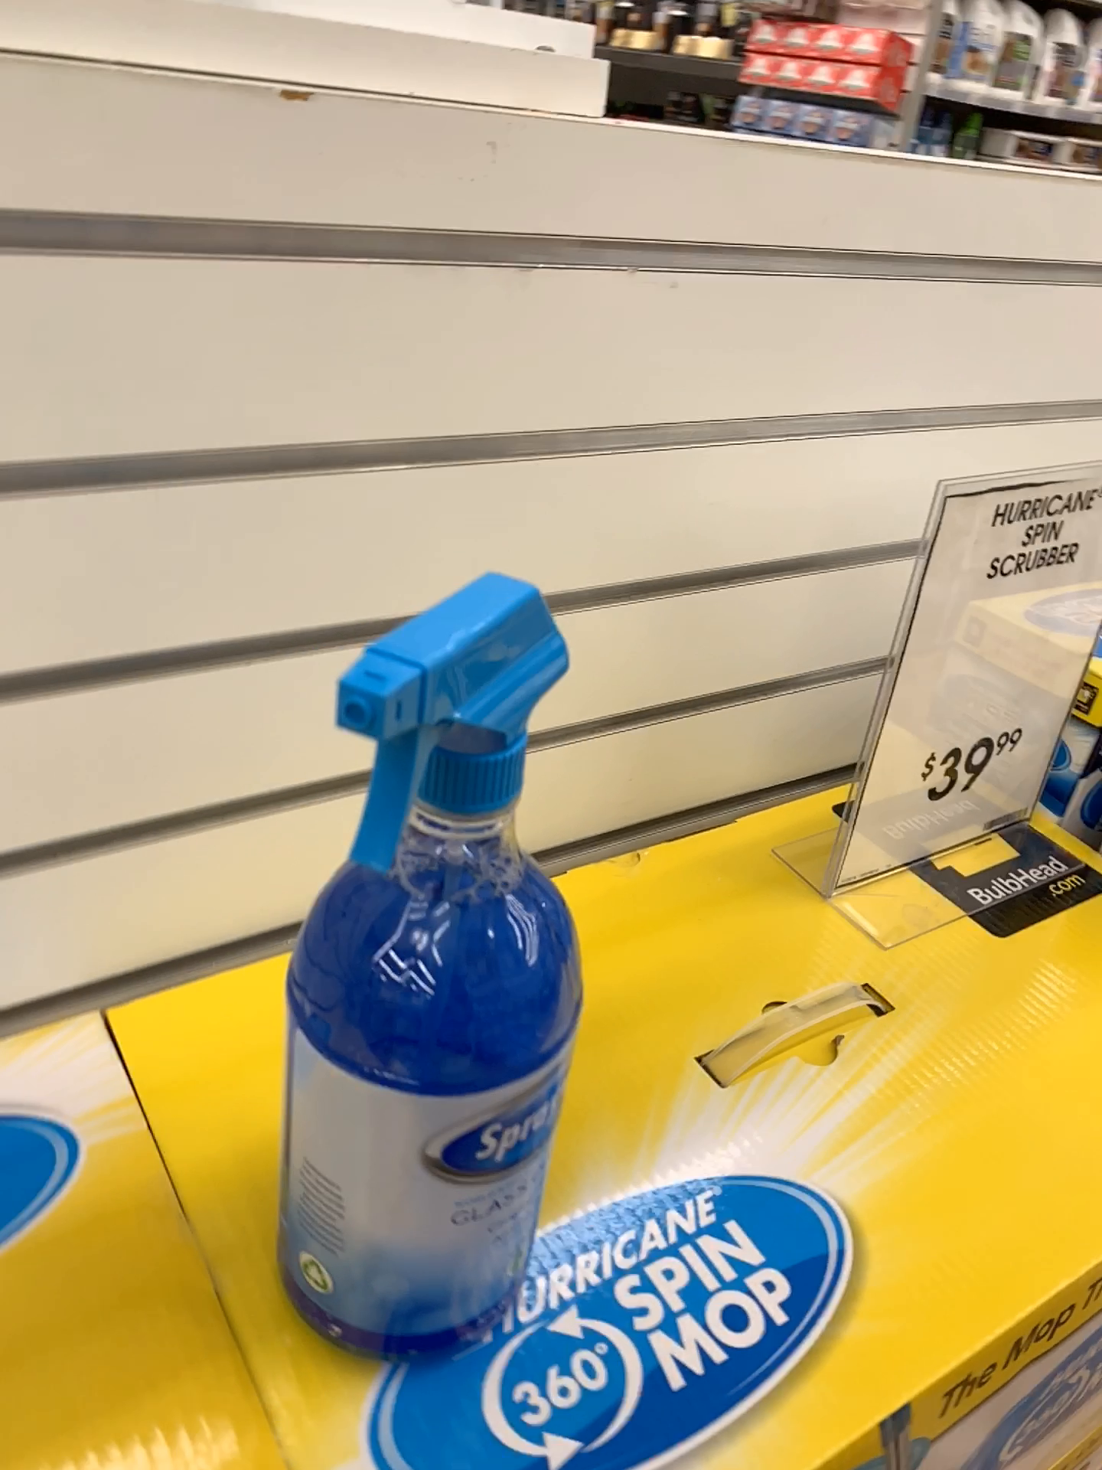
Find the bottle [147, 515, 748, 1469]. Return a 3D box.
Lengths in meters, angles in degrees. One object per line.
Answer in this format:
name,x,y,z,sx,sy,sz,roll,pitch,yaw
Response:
bottle,-0.033,0.076,0.322,0.090,0.239,0.110,25,34,26
